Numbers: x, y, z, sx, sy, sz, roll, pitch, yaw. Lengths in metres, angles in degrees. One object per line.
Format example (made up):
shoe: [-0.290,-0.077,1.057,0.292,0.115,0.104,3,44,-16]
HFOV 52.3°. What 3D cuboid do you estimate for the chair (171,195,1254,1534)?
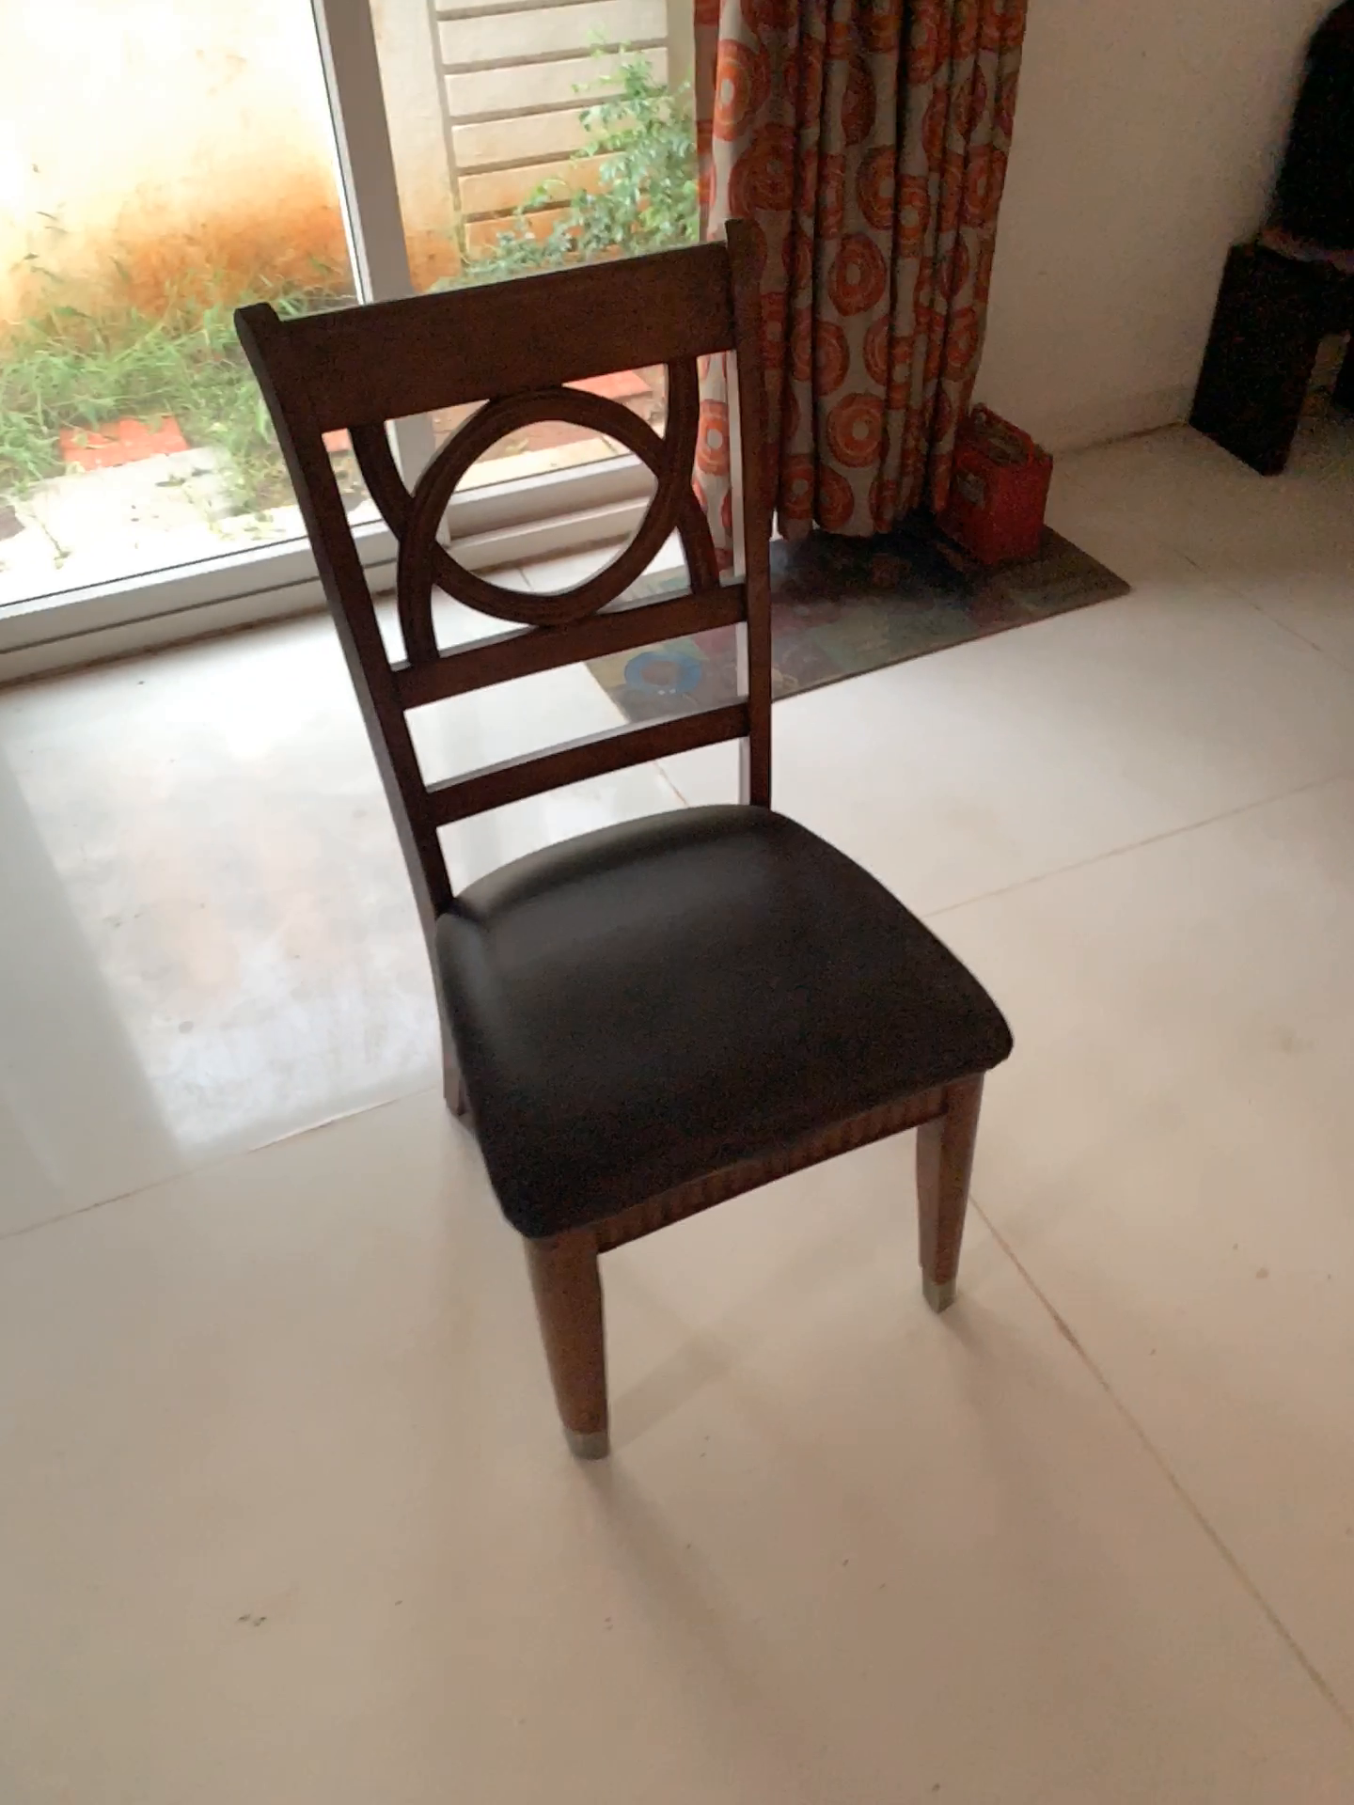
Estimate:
chair: [-0.013,-0.006,1.354,0.570,1.026,0.642,-18,46,-15]
